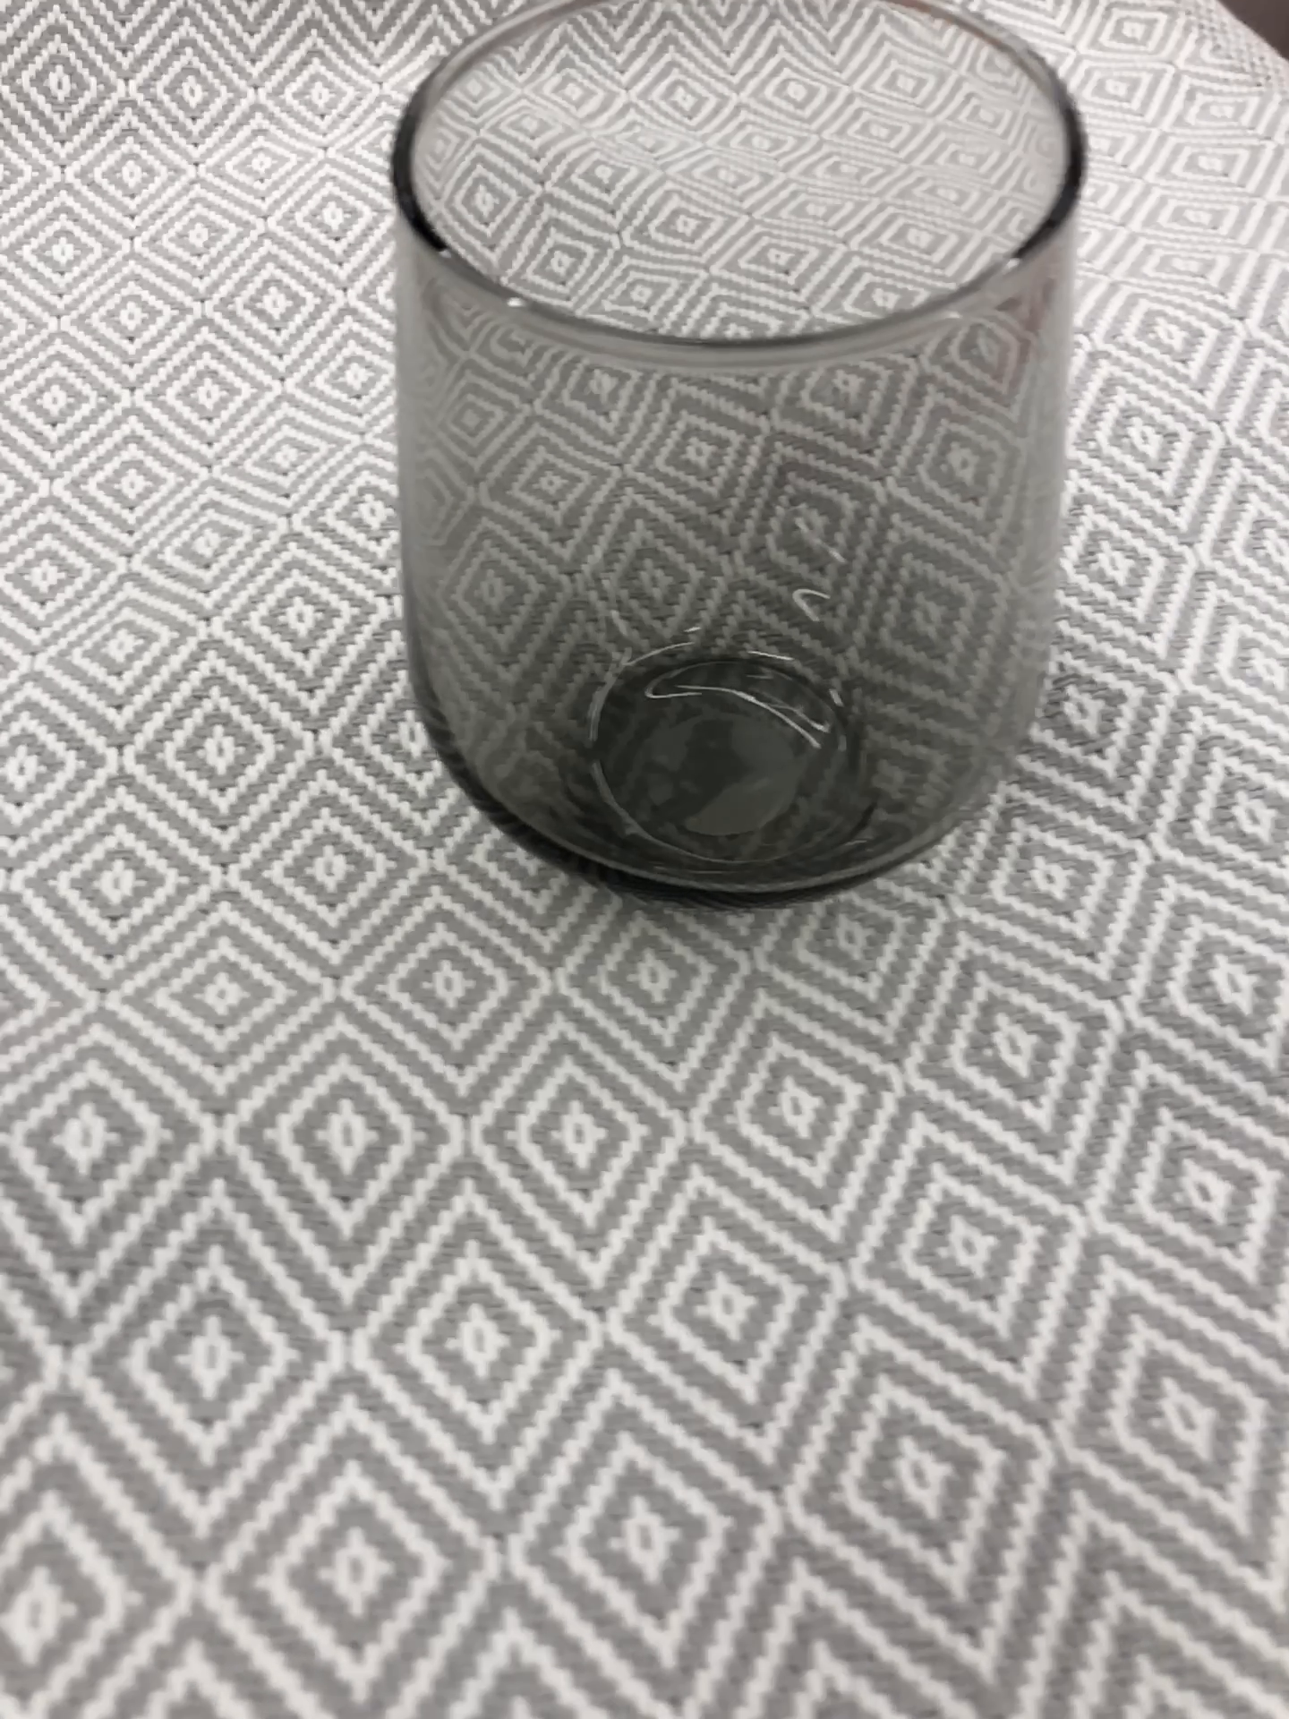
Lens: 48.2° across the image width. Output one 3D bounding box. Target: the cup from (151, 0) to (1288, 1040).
[{"bbox_3d":[0.014,-0.048,0.162,0.080,0.080,0.080,0,53,1],"label":"cup"}]
